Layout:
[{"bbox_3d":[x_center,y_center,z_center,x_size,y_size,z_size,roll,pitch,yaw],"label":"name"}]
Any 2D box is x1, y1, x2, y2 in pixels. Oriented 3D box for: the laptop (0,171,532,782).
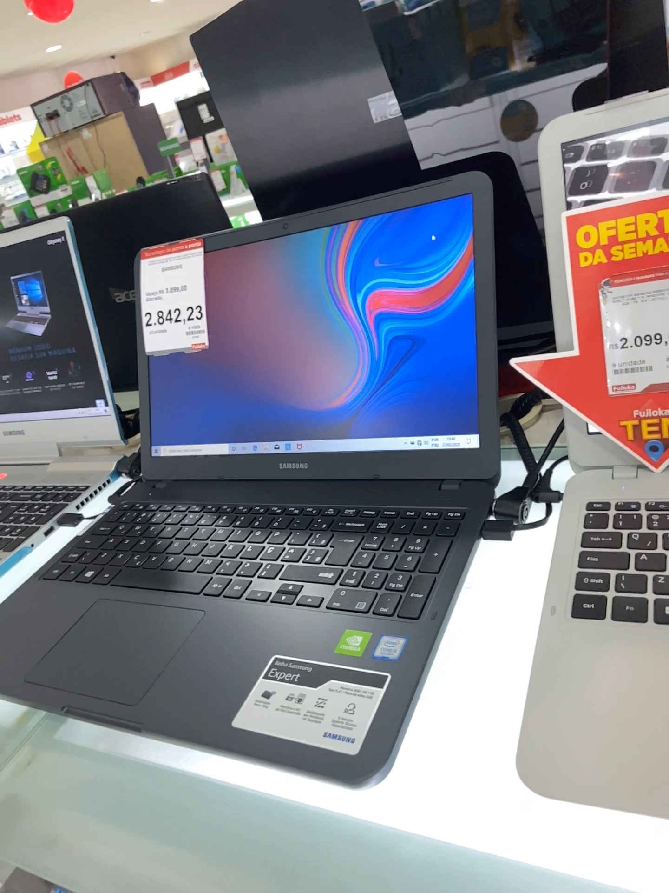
[{"bbox_3d":[-0.092,-0.018,0.514,0.367,0.193,0.371,-2,32,31],"label":"laptop"}]
